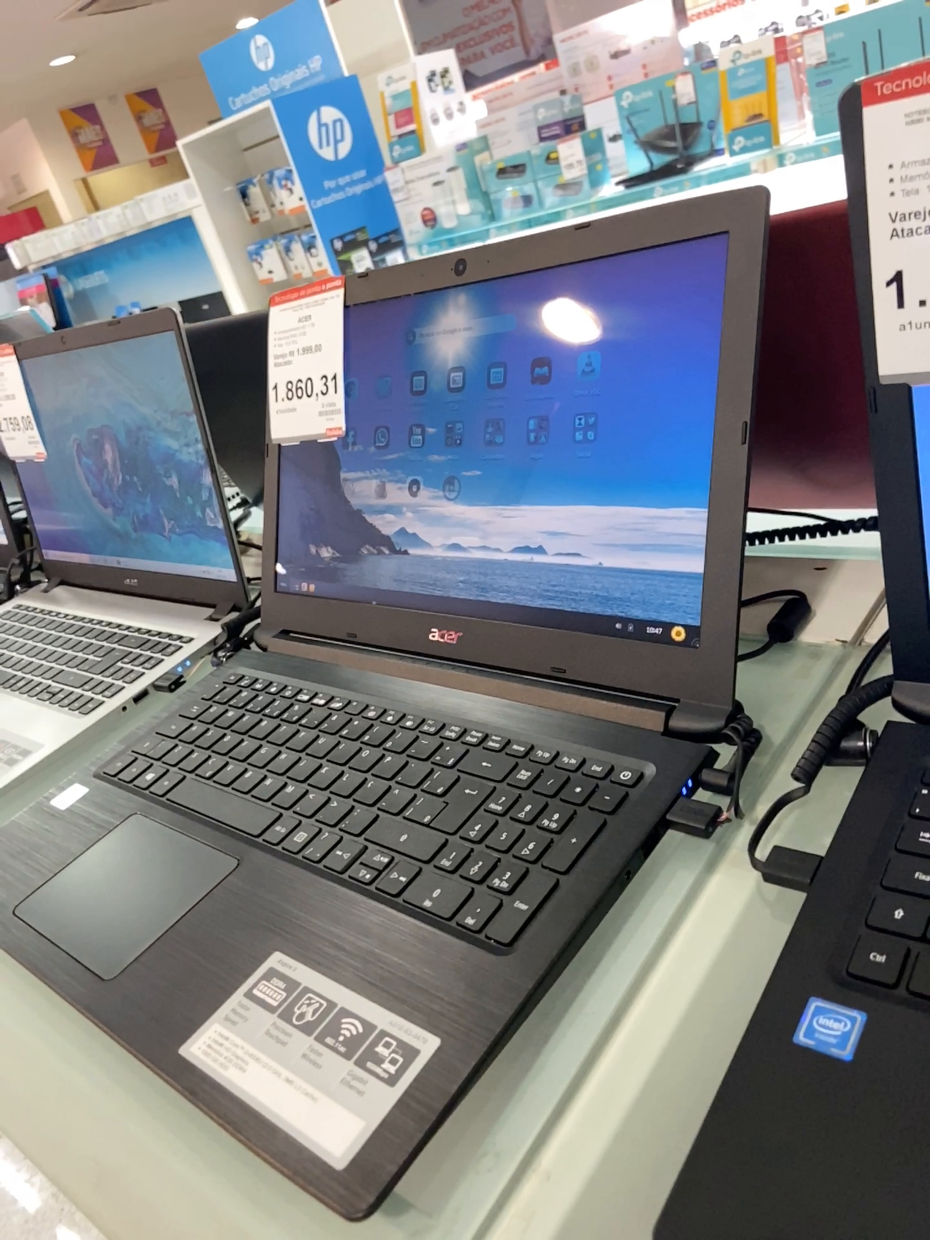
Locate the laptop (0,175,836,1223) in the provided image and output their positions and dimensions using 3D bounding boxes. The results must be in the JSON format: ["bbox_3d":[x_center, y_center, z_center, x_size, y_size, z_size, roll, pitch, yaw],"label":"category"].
[{"bbox_3d":[-0.086,-0.022,0.490,0.380,0.215,0.380,7,36,43],"label":"laptop"}]
